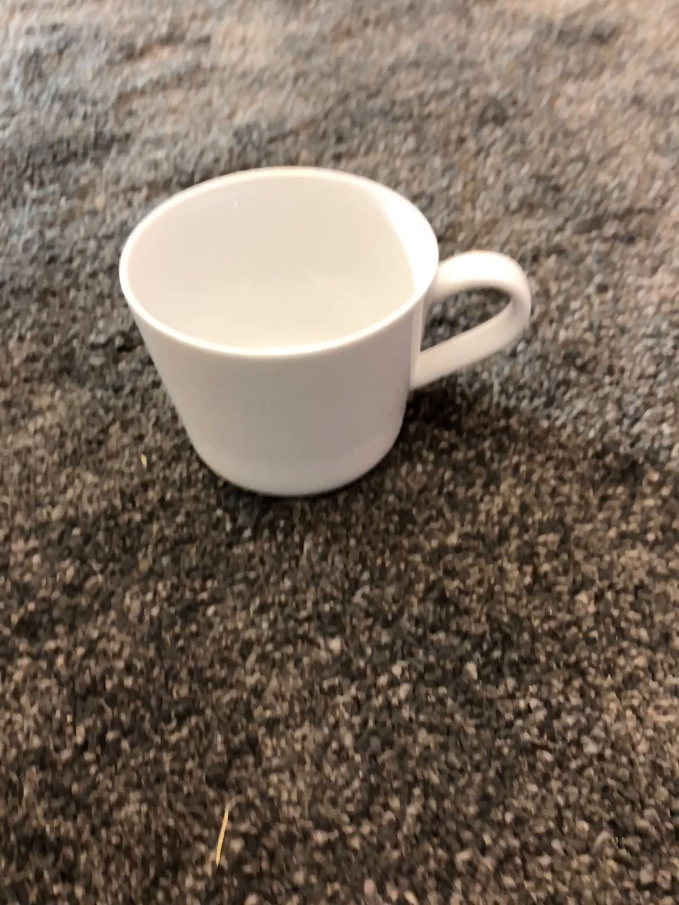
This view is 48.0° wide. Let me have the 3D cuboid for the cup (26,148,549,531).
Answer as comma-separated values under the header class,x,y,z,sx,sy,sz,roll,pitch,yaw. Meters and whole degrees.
class,x,y,z,sx,sy,sz,roll,pitch,yaw
cup,-0.013,-0.040,0.266,0.140,0.080,0.100,-3,48,2
